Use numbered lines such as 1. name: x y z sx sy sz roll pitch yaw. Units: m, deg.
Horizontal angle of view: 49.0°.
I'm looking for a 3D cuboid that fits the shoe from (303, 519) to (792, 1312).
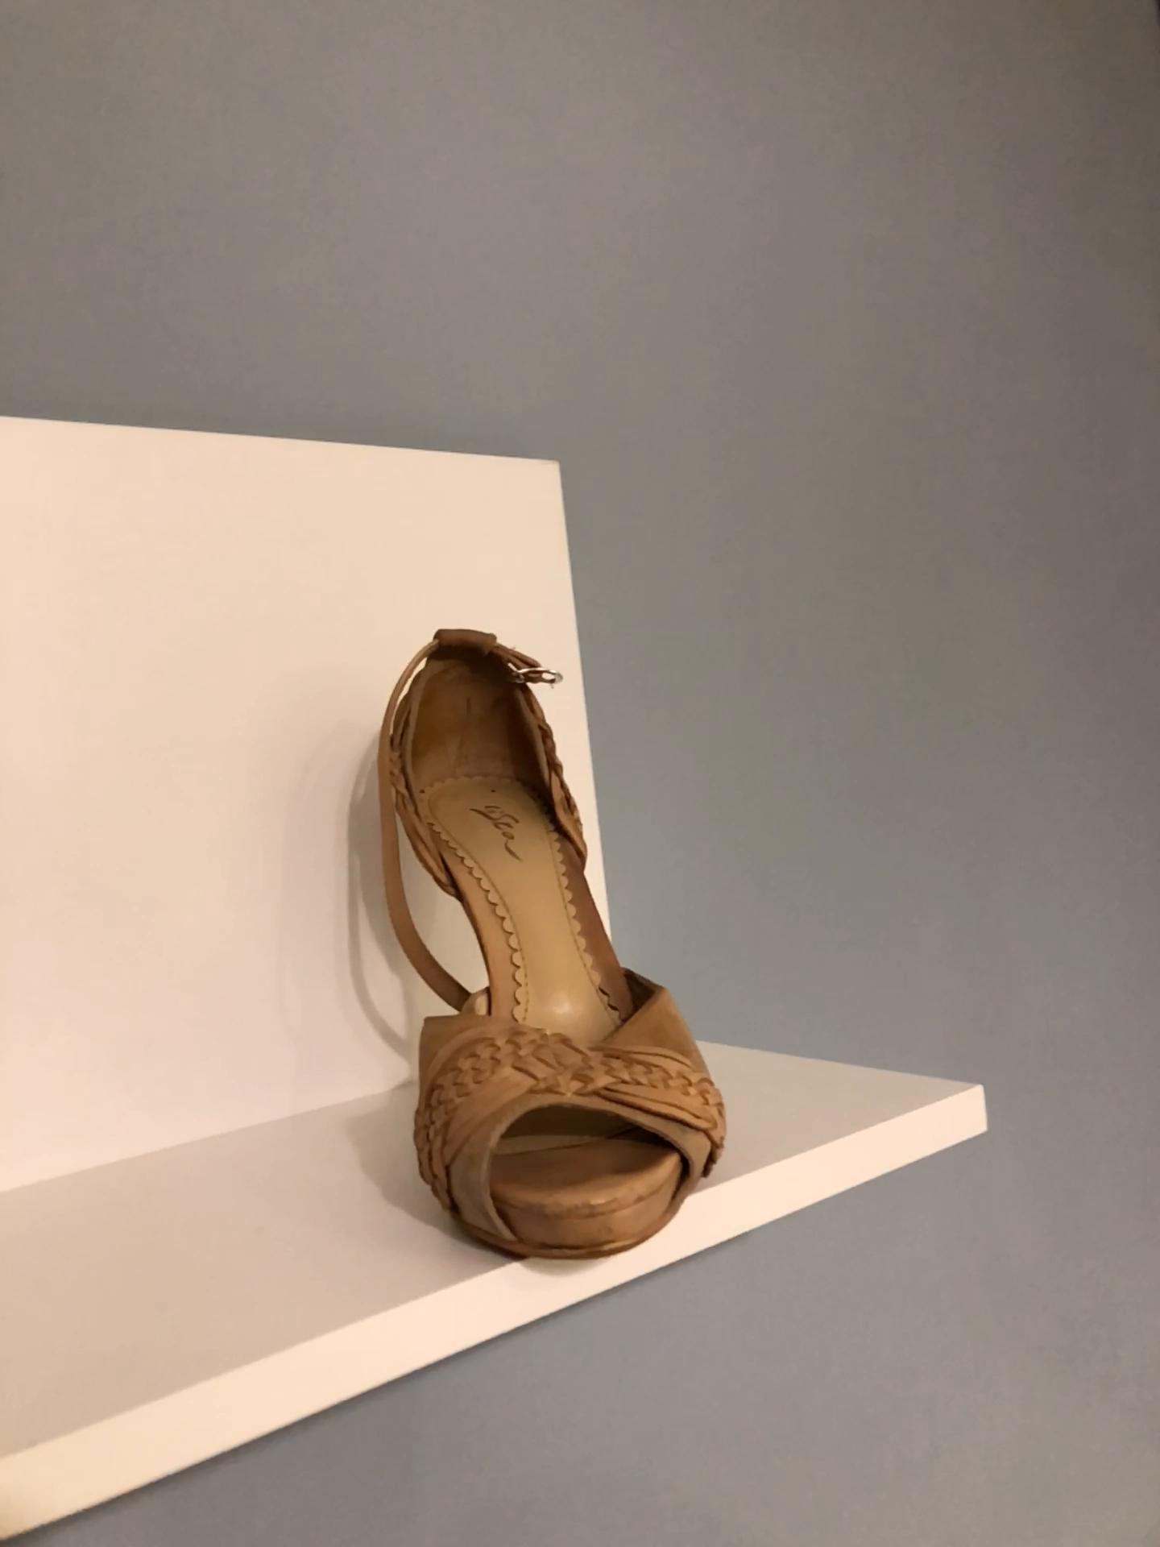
1. shoe: -0.020 0.035 0.412 0.100 0.180 0.210 -6 -2 -7
